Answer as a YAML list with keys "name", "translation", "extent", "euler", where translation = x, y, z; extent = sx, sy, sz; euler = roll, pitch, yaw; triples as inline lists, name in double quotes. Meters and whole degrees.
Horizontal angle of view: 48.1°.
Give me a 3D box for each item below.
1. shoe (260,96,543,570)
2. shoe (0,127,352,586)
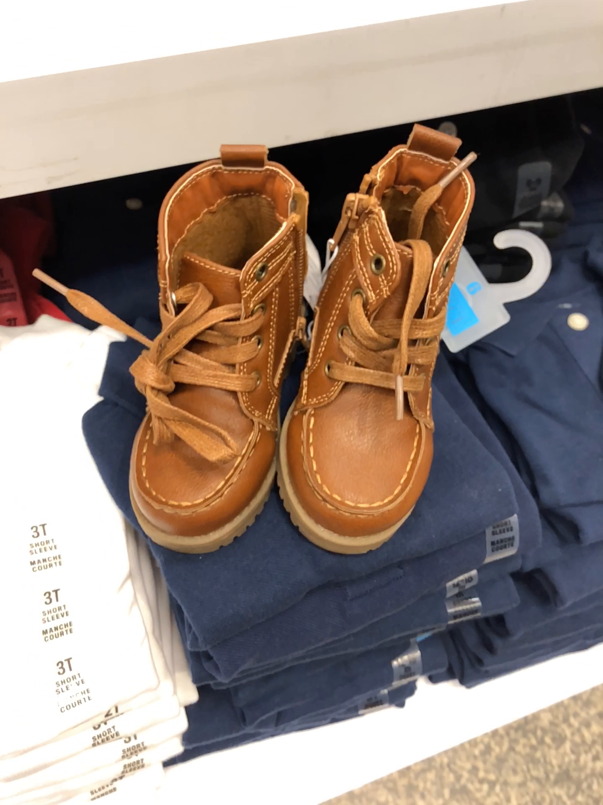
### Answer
- name: "shoe"
  translation: [0.039, -0.029, 0.288]
  extent: [0.080, 0.101, 0.161]
  euler: [10, 58, -2]
- name: "shoe"
  translation: [-0.036, -0.021, 0.285]
  extent: [0.080, 0.101, 0.151]
  euler: [12, 59, 11]
